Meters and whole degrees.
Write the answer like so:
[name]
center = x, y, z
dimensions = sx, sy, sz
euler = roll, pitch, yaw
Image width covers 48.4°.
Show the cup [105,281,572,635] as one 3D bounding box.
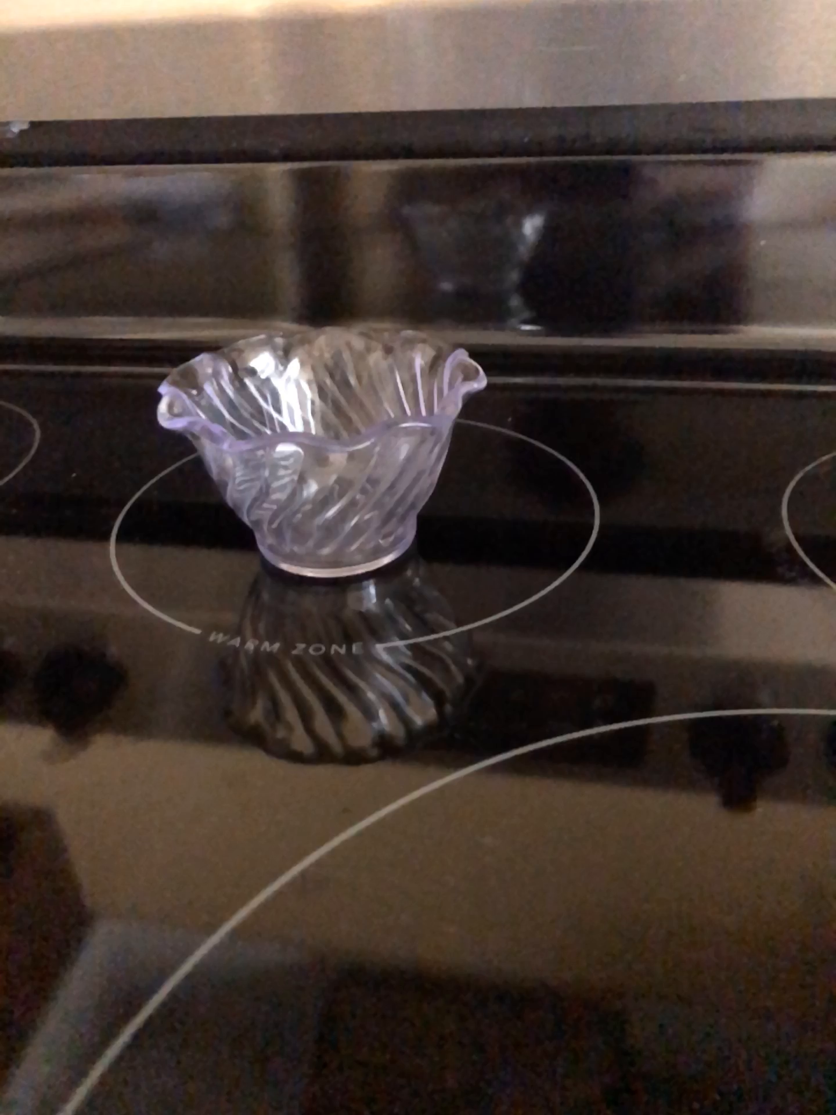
[cup]
center = -0.026, -0.039, 0.280
dimensions = 0.101, 0.052, 0.100
euler = -3, 30, 1
